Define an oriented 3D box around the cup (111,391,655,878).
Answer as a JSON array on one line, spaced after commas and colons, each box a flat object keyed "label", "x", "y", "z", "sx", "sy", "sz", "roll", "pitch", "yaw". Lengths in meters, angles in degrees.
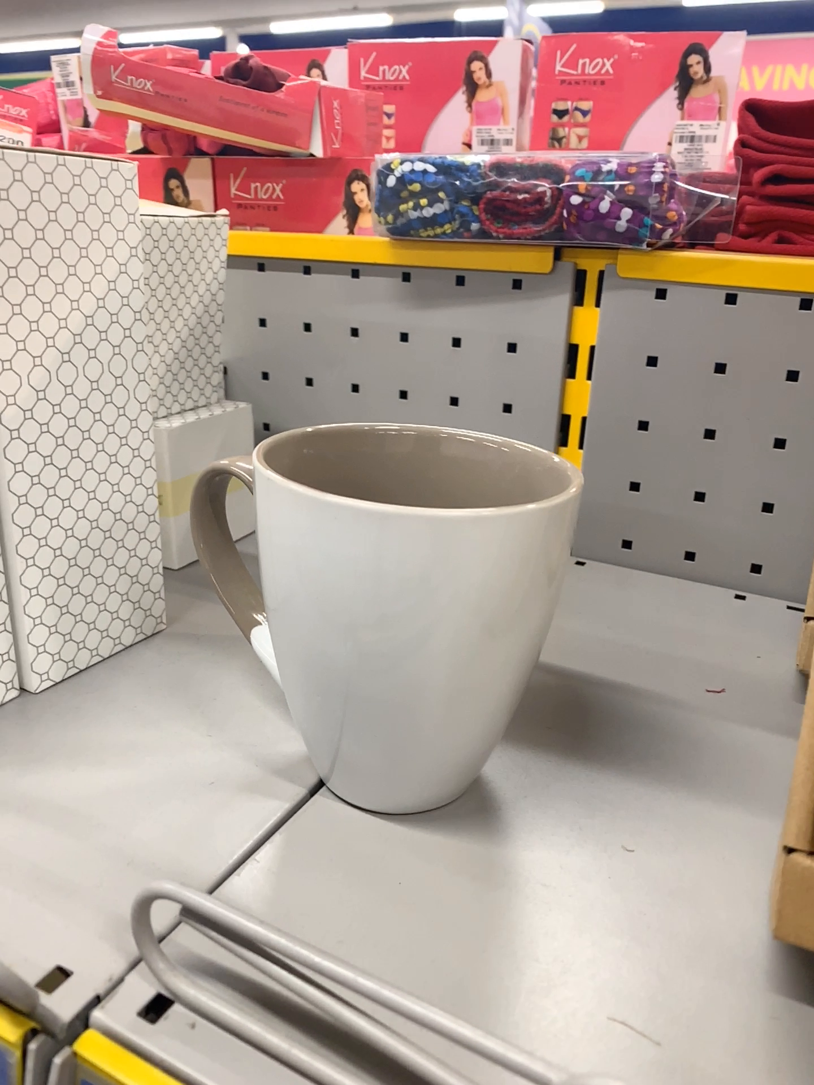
[{"label": "cup", "x": -0.007, "y": 0.015, "z": 0.282, "sx": 0.140, "sy": 0.100, "sz": 0.100, "roll": 14, "pitch": 23, "yaw": 27}]
